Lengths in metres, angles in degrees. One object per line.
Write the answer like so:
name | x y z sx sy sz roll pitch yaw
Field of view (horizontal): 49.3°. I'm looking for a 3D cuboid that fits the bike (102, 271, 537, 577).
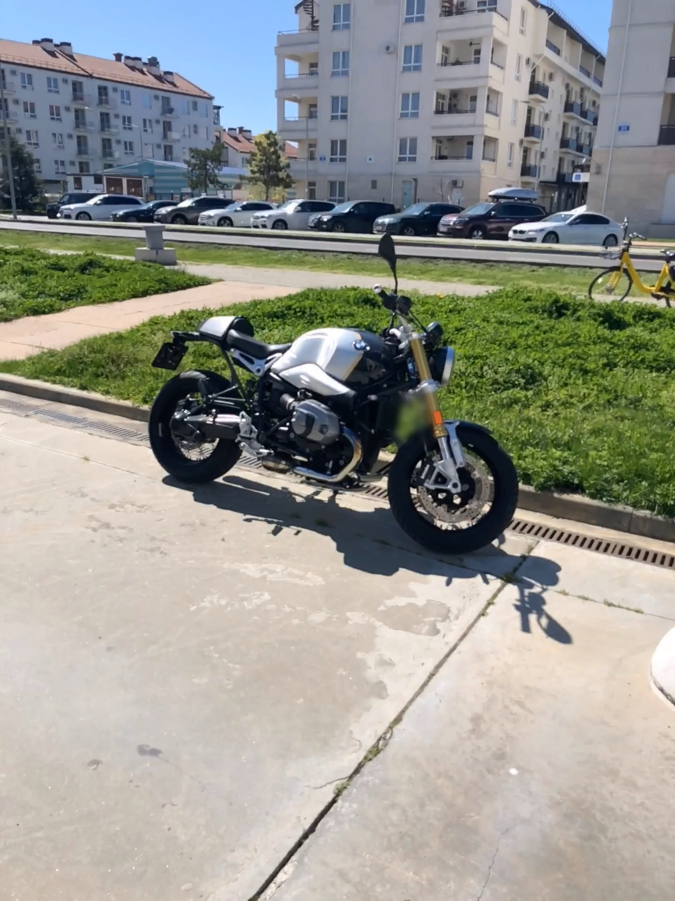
bike | -0.138 -0.244 3.705 2.069 1.123 0.649 10 19 23
